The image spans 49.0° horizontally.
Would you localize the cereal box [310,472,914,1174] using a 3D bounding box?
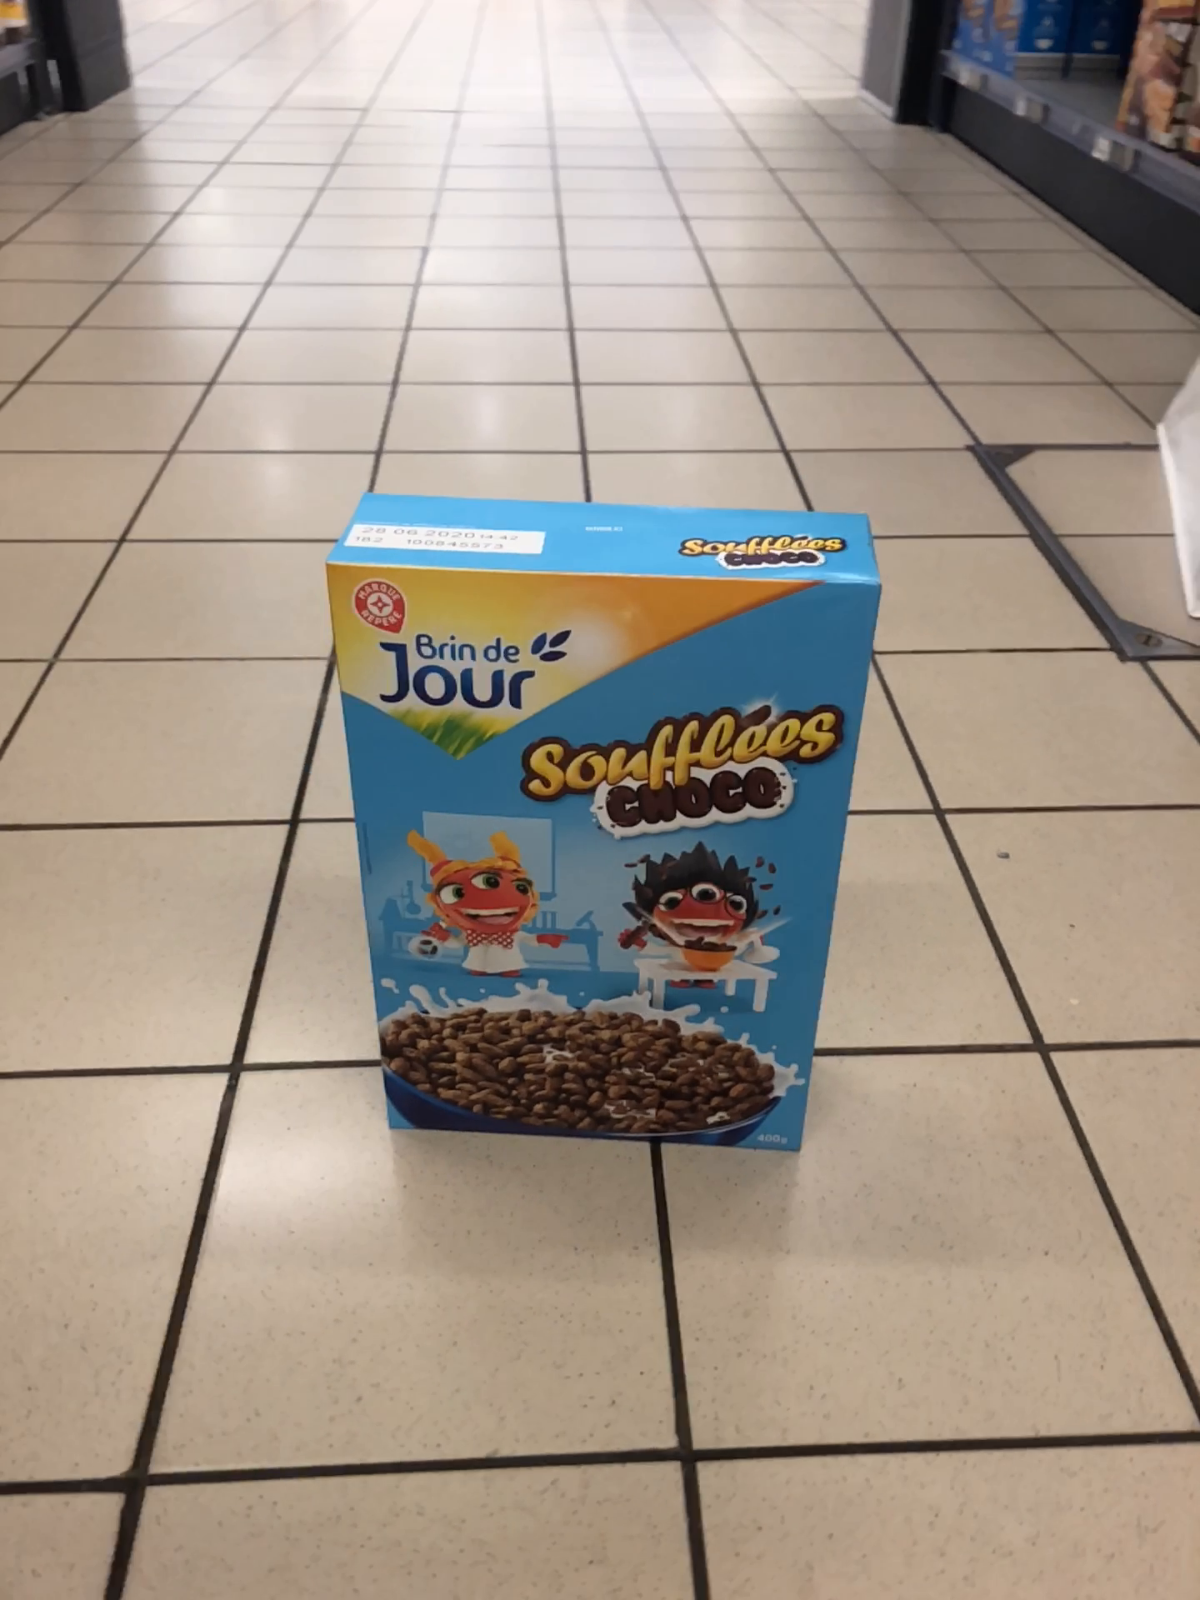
[{"bbox_3d":[0.004,0.022,0.551,0.200,0.288,0.081,3,35,3],"label":"cereal box"}]
